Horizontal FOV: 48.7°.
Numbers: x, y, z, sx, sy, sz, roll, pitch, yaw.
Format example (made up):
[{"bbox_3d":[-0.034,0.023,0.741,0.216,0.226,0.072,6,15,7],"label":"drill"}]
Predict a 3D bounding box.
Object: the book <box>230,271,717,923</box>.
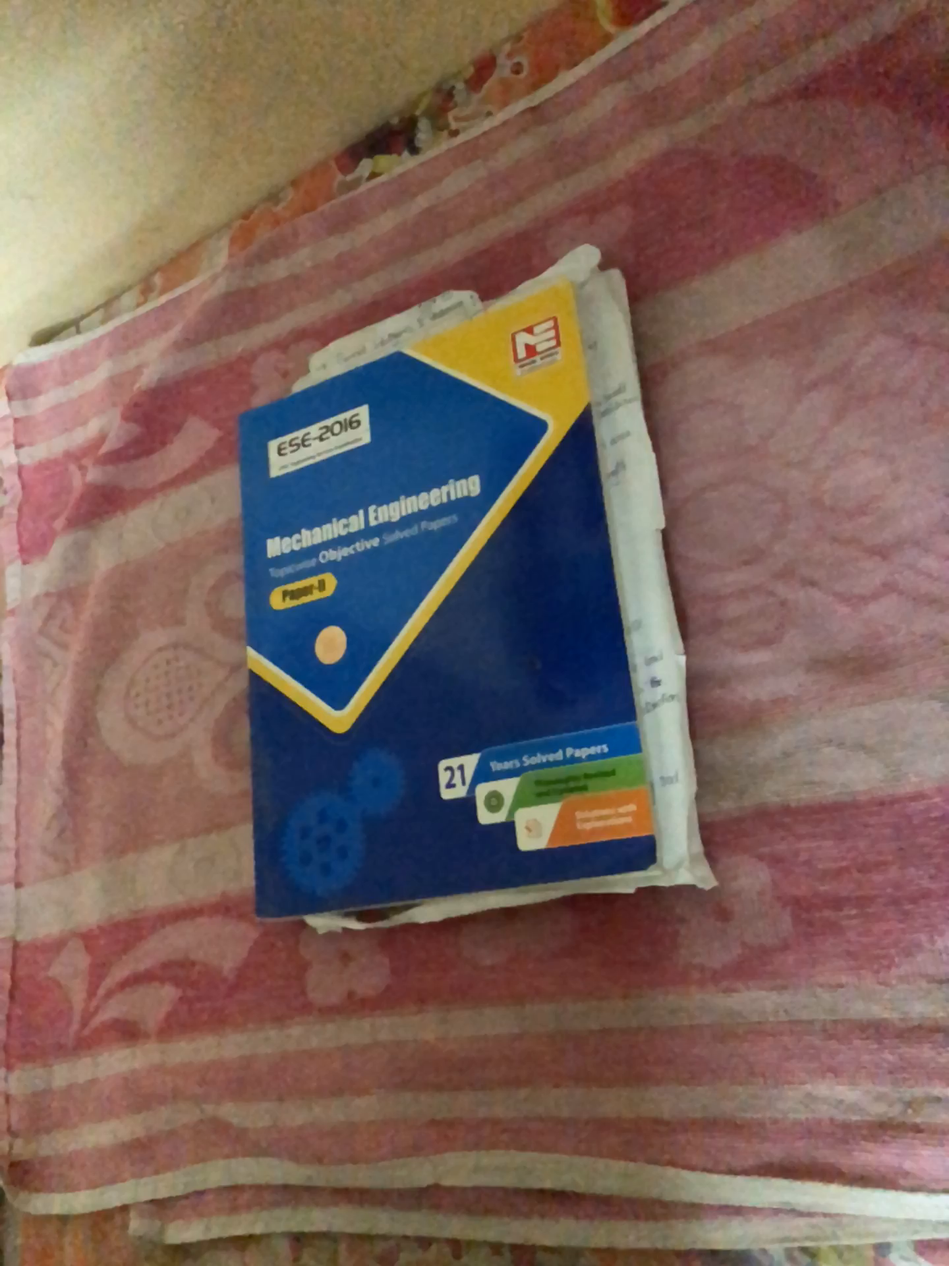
[{"bbox_3d":[-0.015,-0.008,0.516,0.216,0.055,0.270,-14,72,27],"label":"book"}]
